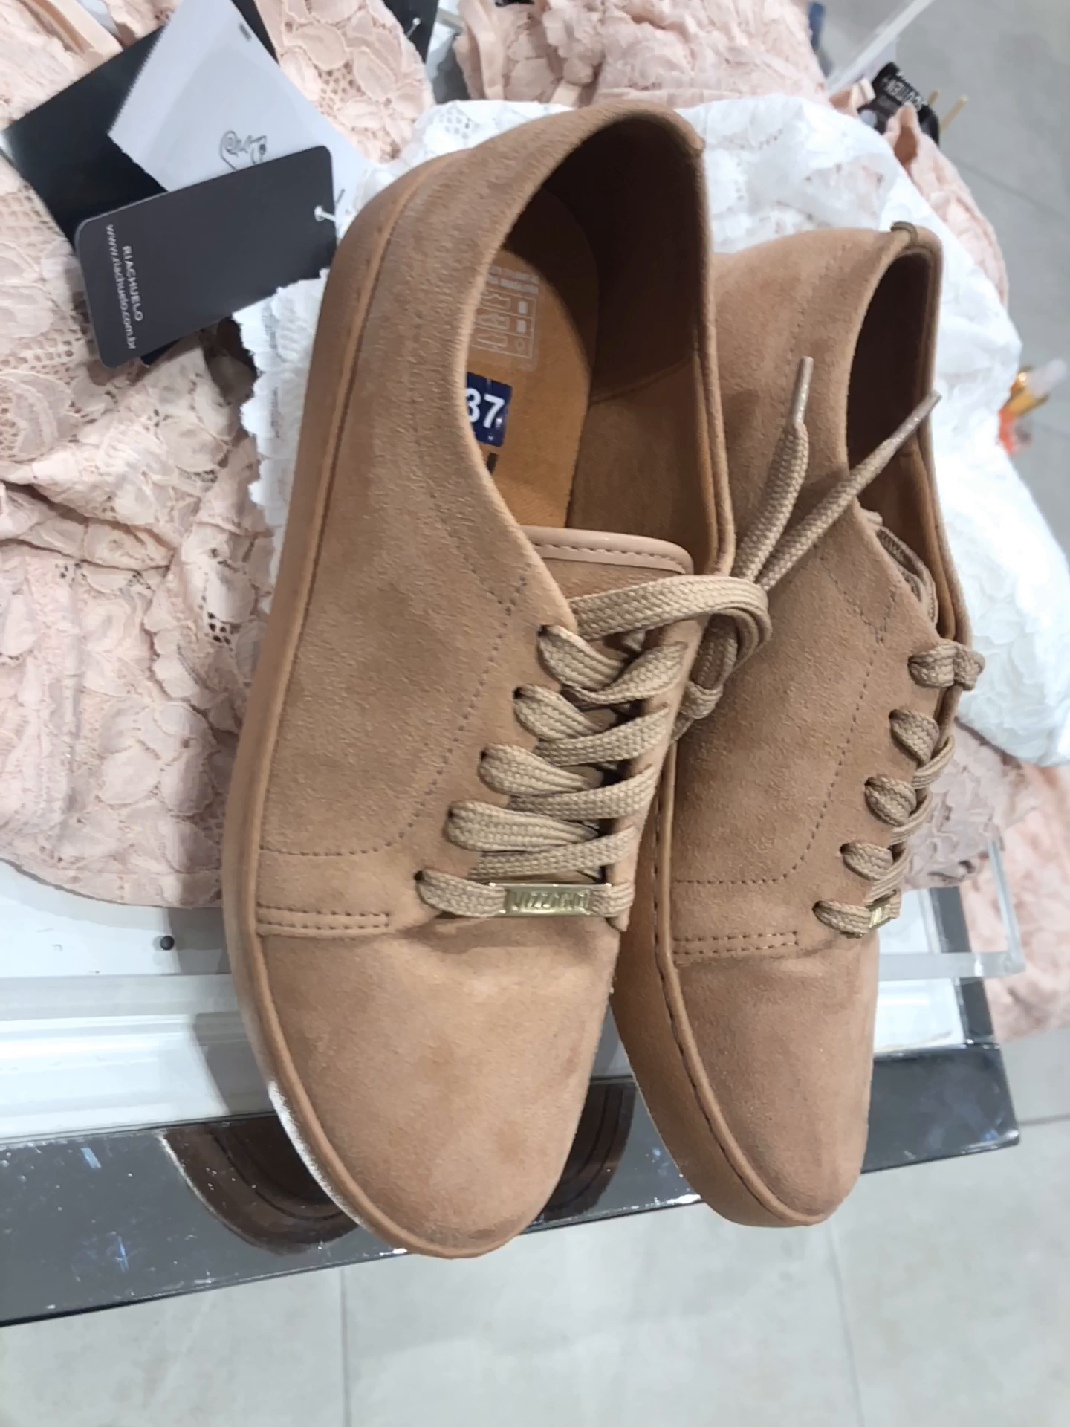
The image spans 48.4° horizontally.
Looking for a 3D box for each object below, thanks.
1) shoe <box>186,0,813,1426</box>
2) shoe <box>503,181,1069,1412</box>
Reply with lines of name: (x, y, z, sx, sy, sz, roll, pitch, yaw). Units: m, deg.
shoe: (-0.010, 0.001, 0.262, 0.090, 0.099, 0.240, 4, 87, -35)
shoe: (0.069, 0.017, 0.298, 0.091, 0.099, 0.240, -3, 87, -51)
